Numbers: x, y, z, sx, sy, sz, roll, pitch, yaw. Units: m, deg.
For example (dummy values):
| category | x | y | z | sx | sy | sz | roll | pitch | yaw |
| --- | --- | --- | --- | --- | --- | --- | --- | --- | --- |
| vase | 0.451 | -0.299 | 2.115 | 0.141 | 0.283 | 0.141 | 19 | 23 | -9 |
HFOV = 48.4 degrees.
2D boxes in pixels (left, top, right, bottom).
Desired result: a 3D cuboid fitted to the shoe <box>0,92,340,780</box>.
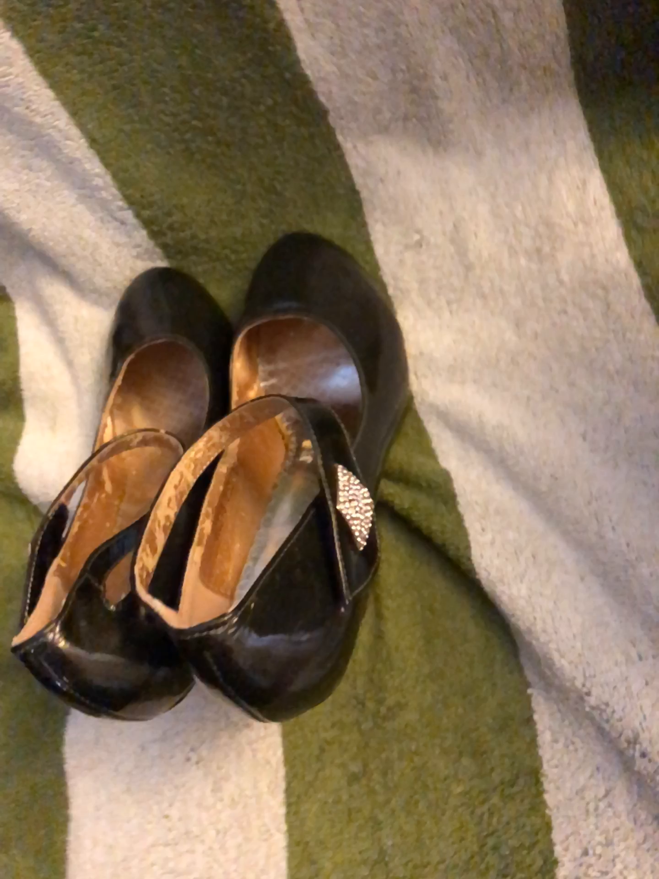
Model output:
| category | x | y | z | sx | sy | sz | roll | pitch | yaw |
| --- | --- | --- | --- | --- | --- | --- | --- | --- | --- |
| shoe | -0.083 | 0.000 | 0.317 | 0.090 | 0.120 | 0.240 | -19 | 69 | 15 |

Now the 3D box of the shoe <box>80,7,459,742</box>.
| category | x | y | z | sx | sy | sz | roll | pitch | yaw |
| --- | --- | --- | --- | --- | --- | --- | --- | --- | --- |
| shoe | -0.019 | -0.017 | 0.292 | 0.090 | 0.120 | 0.240 | -10 | 71 | 18 |
